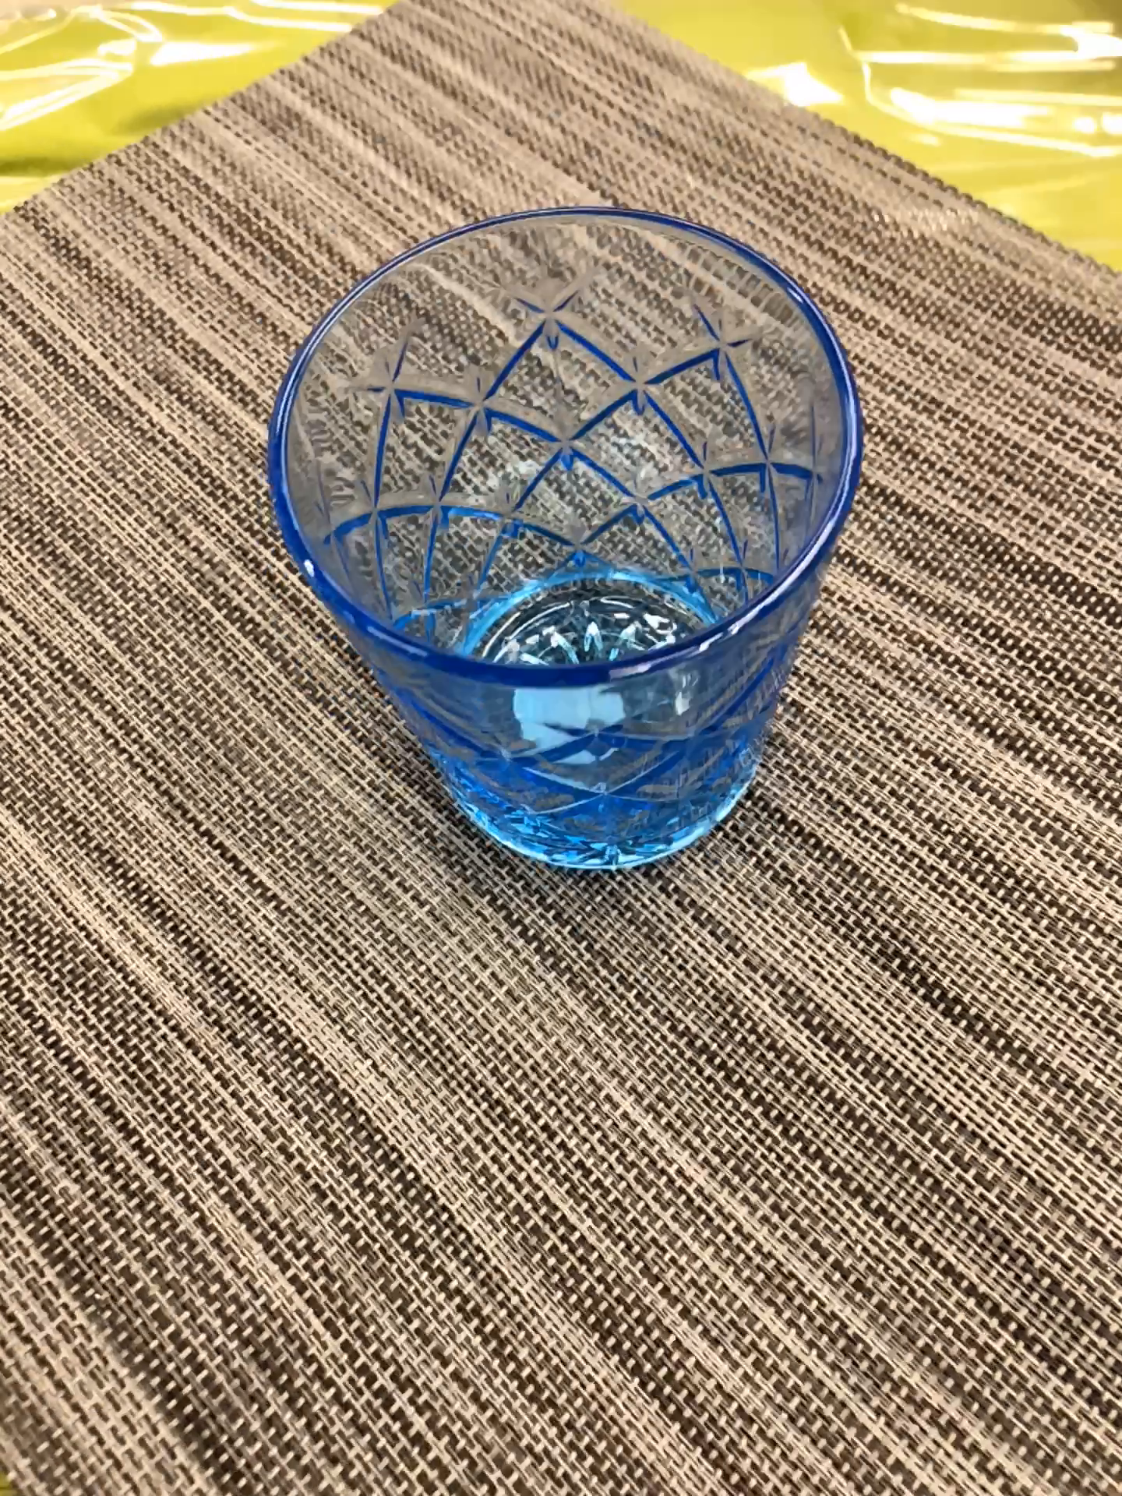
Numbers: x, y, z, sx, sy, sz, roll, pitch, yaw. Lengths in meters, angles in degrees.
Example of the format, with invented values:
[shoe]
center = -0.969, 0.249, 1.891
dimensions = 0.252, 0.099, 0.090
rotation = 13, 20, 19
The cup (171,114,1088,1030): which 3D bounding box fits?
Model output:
[cup]
center = 0.007, -0.022, 0.199
dimensions = 0.090, 0.090, 0.080
rotation = -23, 63, -8
